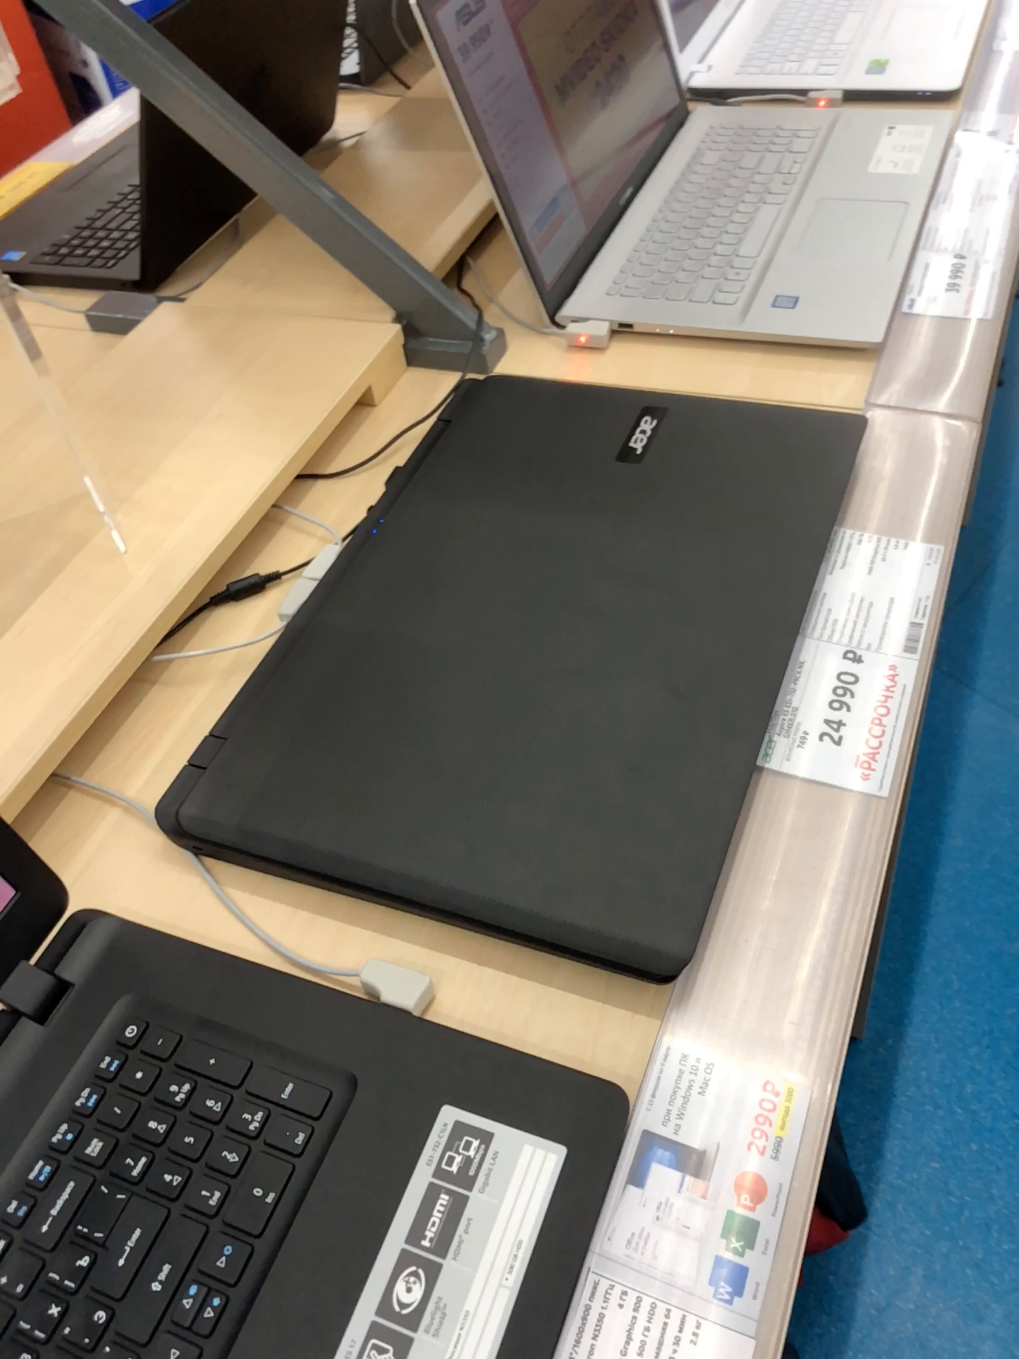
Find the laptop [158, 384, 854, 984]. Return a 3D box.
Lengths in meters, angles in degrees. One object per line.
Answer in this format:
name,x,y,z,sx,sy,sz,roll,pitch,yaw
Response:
laptop,0.022,-0.044,0.654,0.278,0.005,0.411,12,50,20
